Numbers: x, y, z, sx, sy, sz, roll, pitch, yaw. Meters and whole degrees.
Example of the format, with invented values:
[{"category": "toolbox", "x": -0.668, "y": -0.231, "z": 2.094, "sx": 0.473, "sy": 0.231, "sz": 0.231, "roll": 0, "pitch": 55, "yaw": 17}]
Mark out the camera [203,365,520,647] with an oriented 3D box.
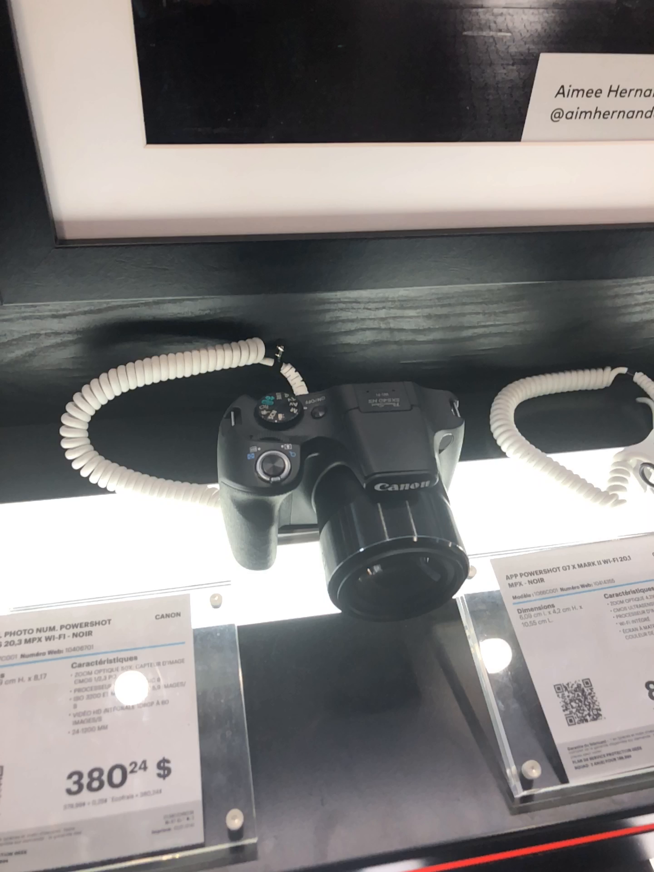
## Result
[{"category": "camera", "x": 0.008, "y": 0.031, "z": 0.337, "sx": 0.122, "sy": 0.099, "sz": 0.071, "roll": -5, "pitch": 41, "yaw": -11}]
